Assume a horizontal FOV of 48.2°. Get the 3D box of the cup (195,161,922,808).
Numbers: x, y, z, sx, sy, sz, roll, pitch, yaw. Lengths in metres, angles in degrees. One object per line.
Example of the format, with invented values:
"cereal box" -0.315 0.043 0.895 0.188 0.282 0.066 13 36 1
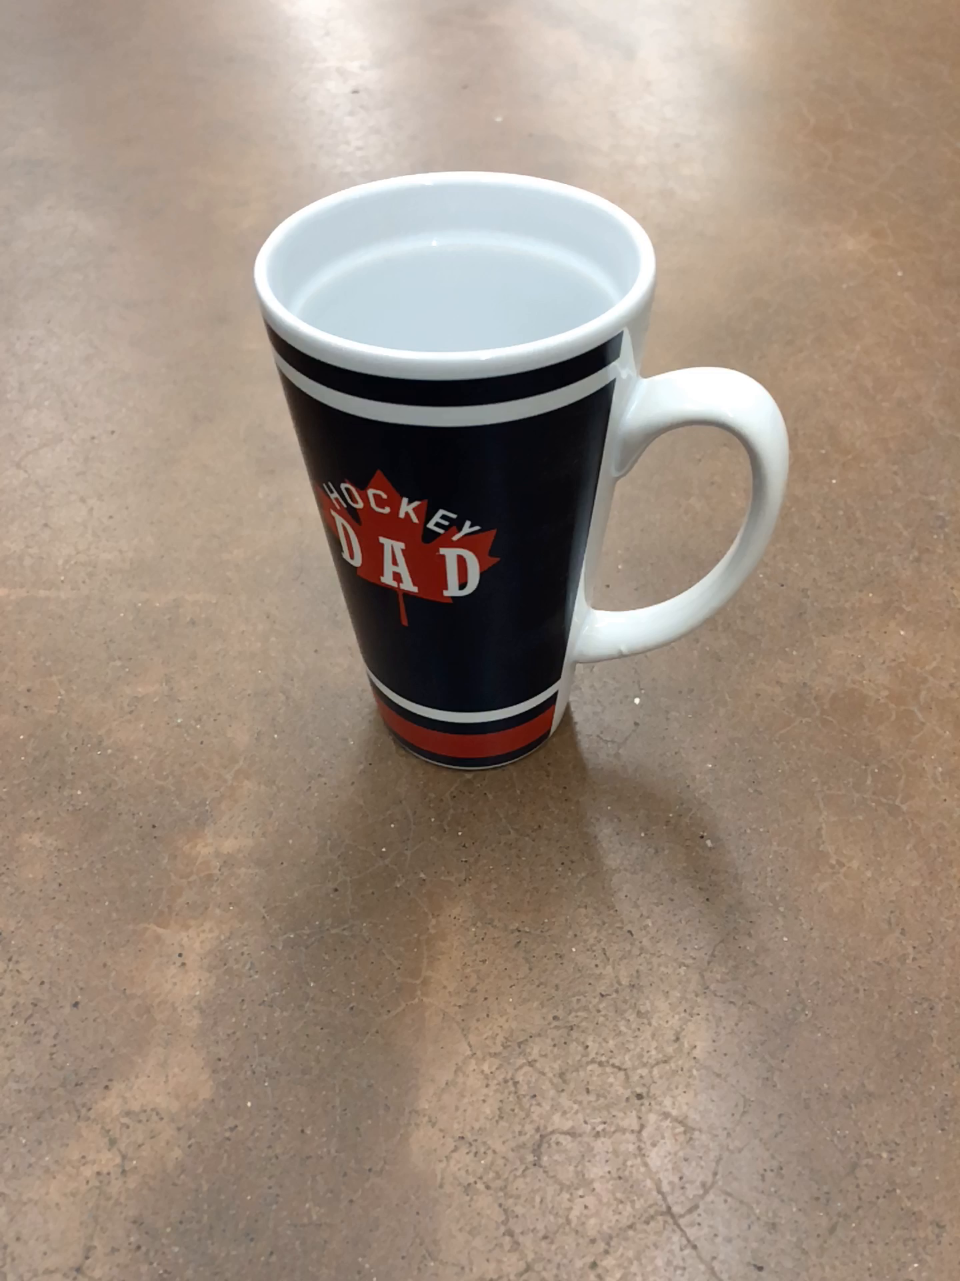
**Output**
"cup" 0.018 -0.036 0.270 0.130 0.130 0.090 2 46 4
